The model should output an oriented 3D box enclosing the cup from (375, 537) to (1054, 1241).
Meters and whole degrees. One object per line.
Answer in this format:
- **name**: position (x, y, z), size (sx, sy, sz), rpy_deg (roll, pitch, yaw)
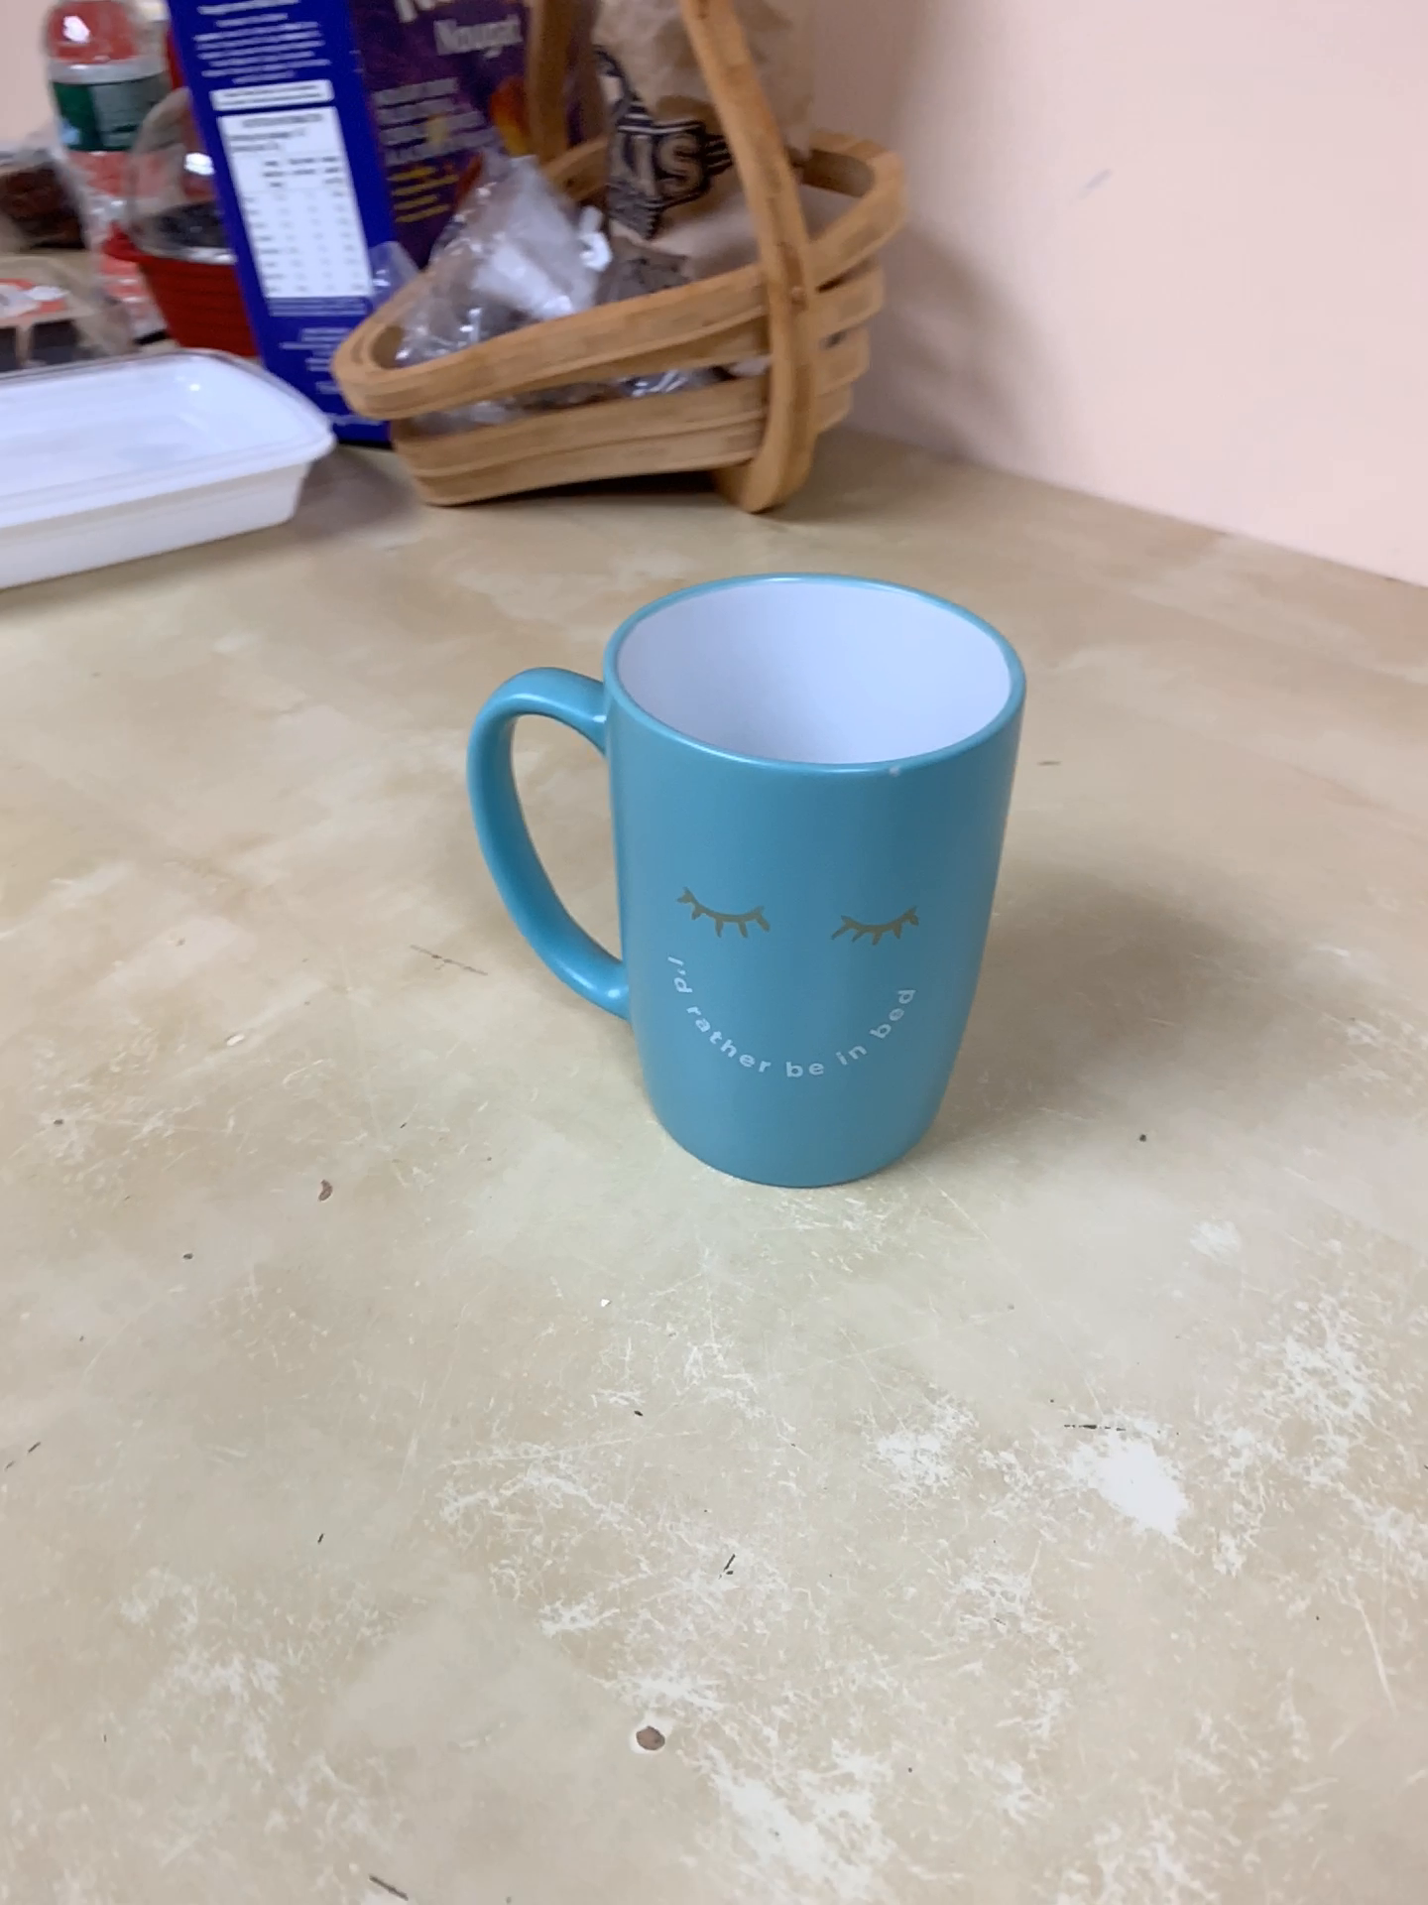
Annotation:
- **cup**: position (0.004, -0.019, 0.344), size (0.121, 0.114, 0.092), rpy_deg (11, 38, 14)
